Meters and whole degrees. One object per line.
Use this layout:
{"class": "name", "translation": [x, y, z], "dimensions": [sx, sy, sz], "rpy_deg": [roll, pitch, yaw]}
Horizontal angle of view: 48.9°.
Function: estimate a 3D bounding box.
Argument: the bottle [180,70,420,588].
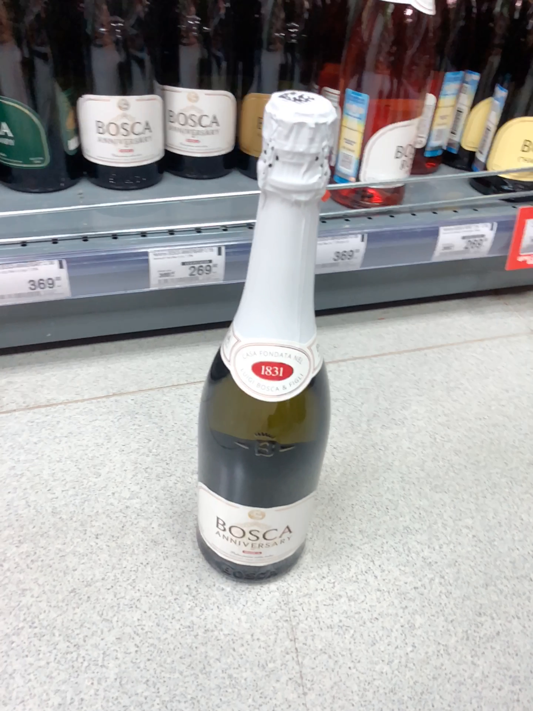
{"class": "bottle", "translation": [0.002, 0.012, 0.350], "dimensions": [0.090, 0.308, 0.091], "rpy_deg": [4, 39, -3]}
